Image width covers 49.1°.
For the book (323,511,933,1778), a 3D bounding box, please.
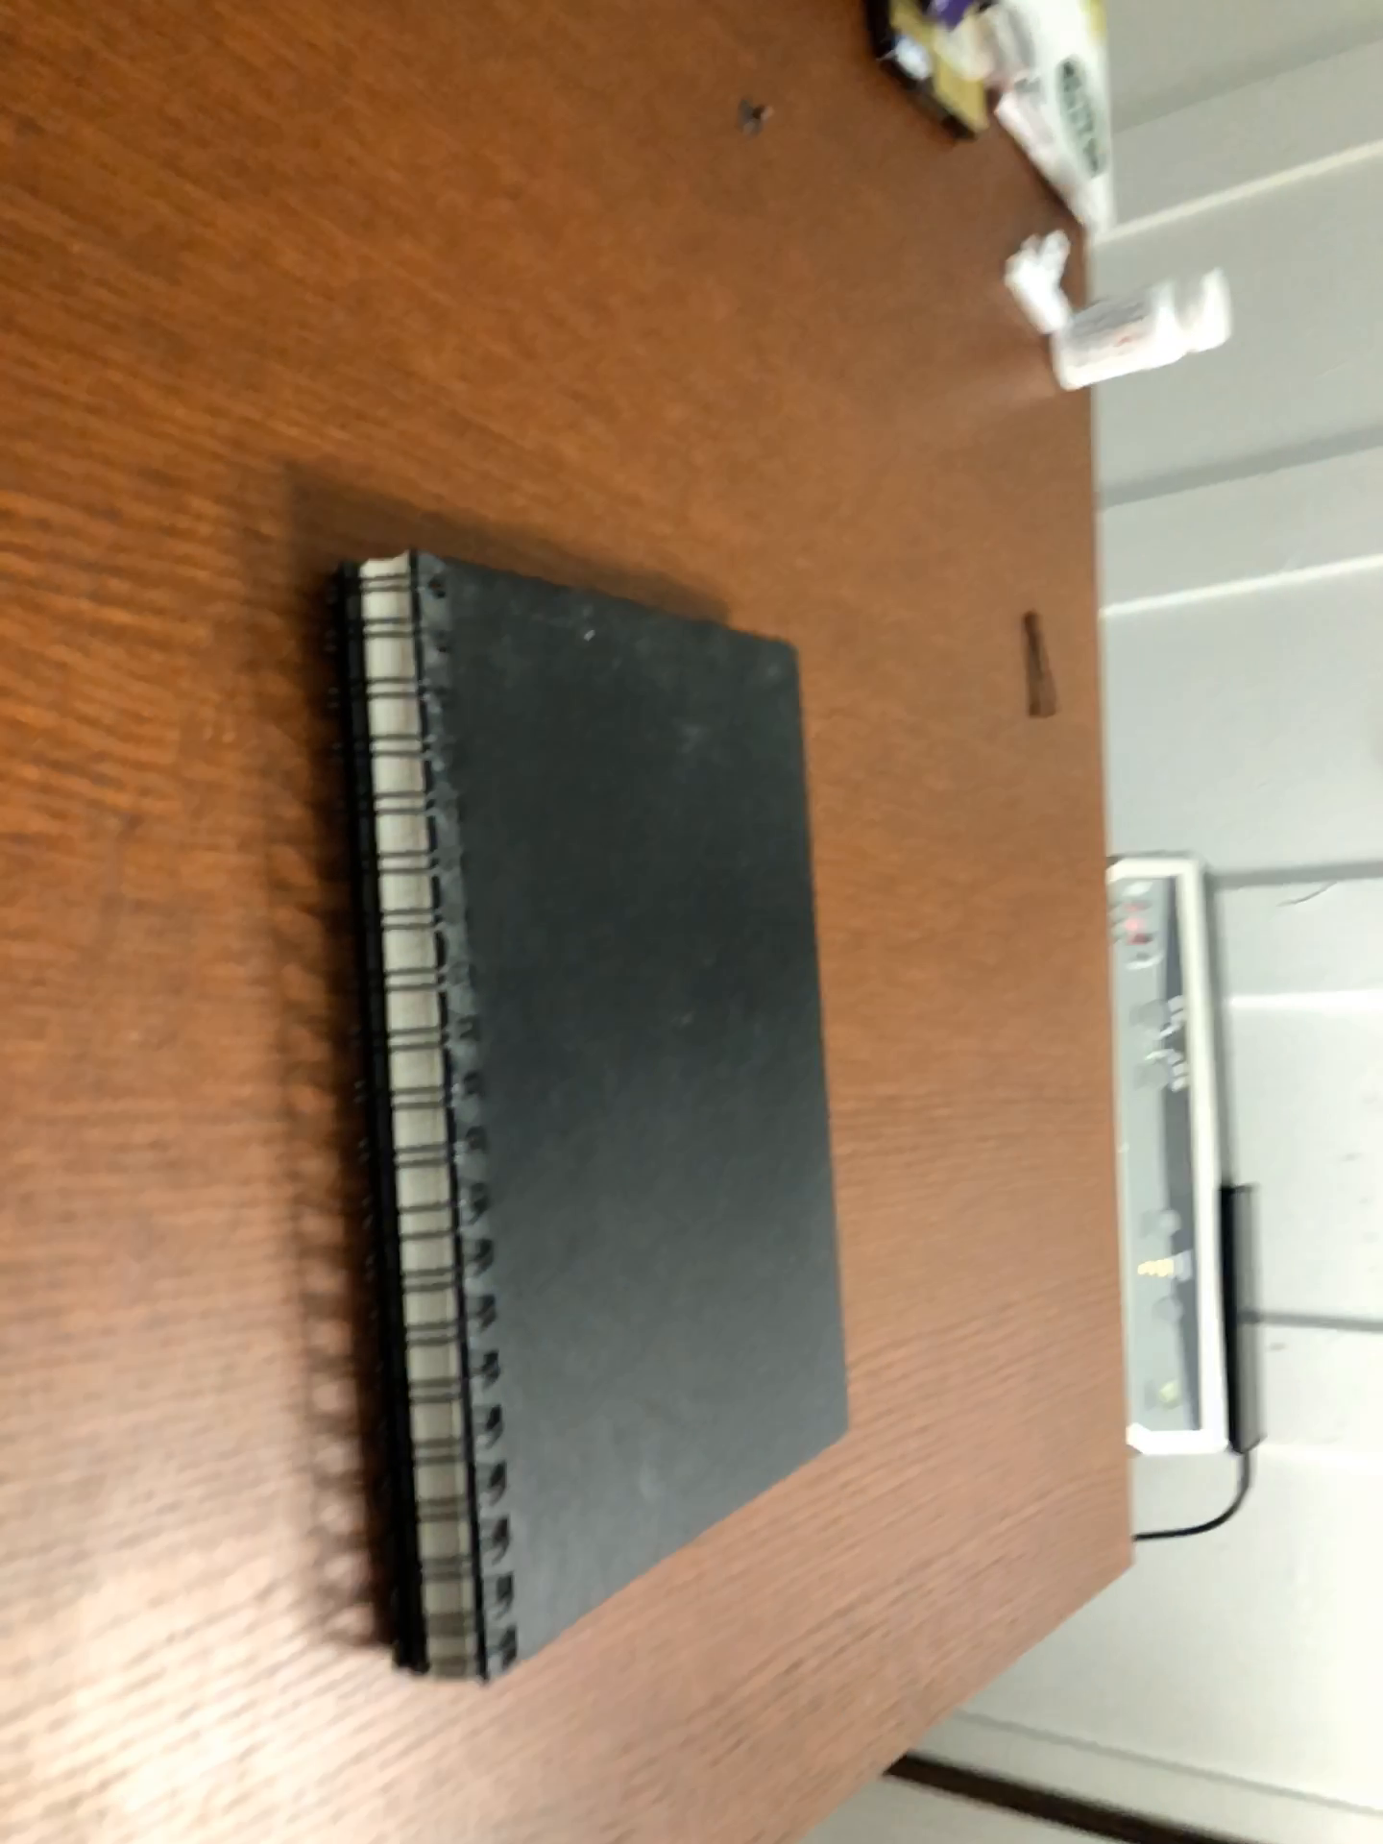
[{"bbox_3d":[-0.001,0.042,0.401,0.201,0.030,0.260,-5,91,-56],"label":"book"}]
